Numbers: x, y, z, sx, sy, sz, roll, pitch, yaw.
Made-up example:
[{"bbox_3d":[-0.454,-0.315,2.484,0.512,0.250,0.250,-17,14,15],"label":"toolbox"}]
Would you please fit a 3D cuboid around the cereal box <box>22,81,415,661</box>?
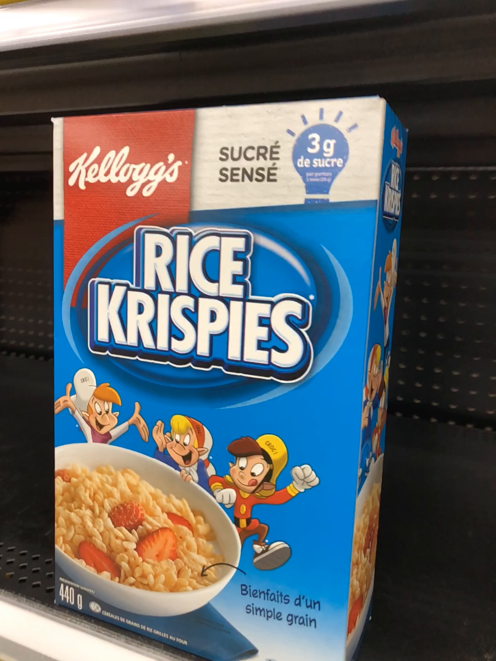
[{"bbox_3d":[-0.024,0.031,0.321,0.200,0.299,0.080,6,9,24],"label":"cereal box"}]
